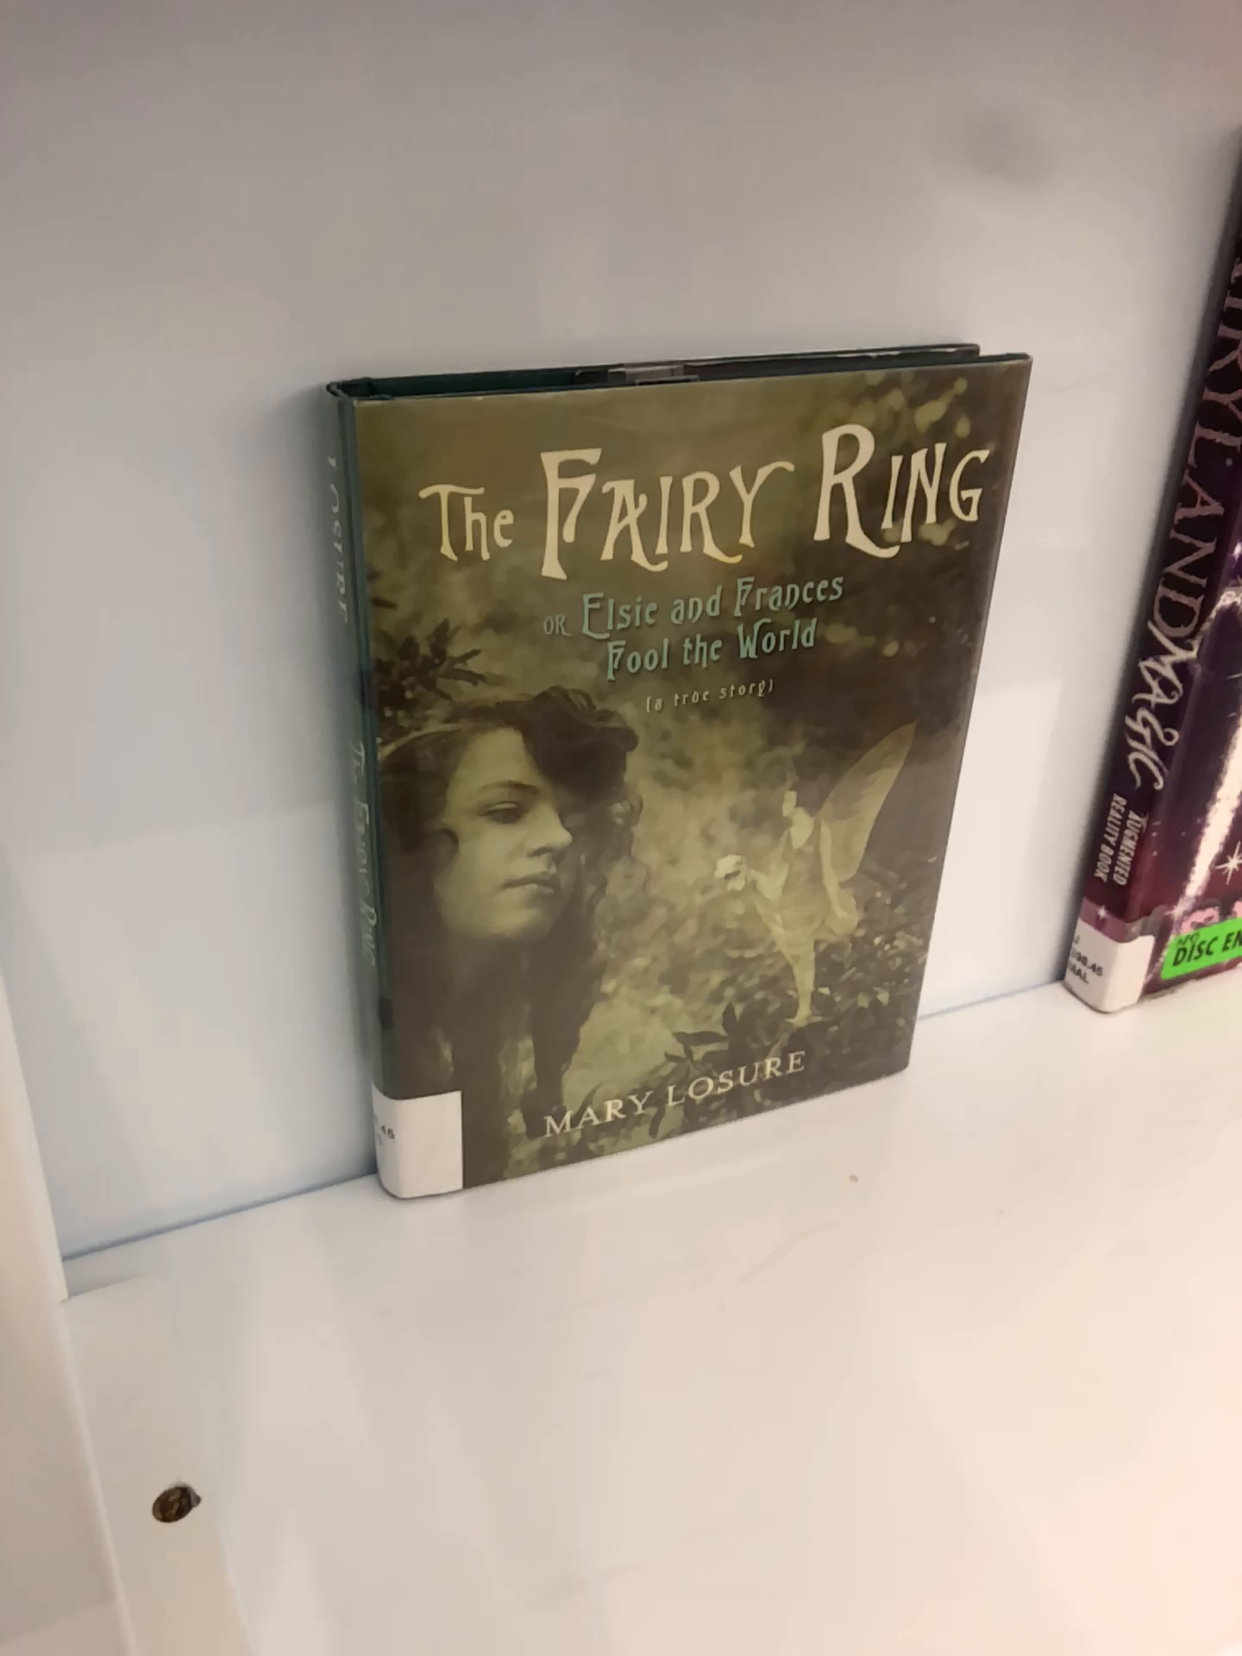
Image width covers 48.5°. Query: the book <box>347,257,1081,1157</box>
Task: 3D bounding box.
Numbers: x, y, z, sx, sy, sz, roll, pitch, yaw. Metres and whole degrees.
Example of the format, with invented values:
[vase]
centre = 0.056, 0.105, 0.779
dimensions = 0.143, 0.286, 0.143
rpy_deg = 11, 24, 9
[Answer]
[book]
centre = 0.021, -0.026, 0.319
dimensions = 0.150, 0.190, 0.028
rpy_deg = -11, 30, -21
